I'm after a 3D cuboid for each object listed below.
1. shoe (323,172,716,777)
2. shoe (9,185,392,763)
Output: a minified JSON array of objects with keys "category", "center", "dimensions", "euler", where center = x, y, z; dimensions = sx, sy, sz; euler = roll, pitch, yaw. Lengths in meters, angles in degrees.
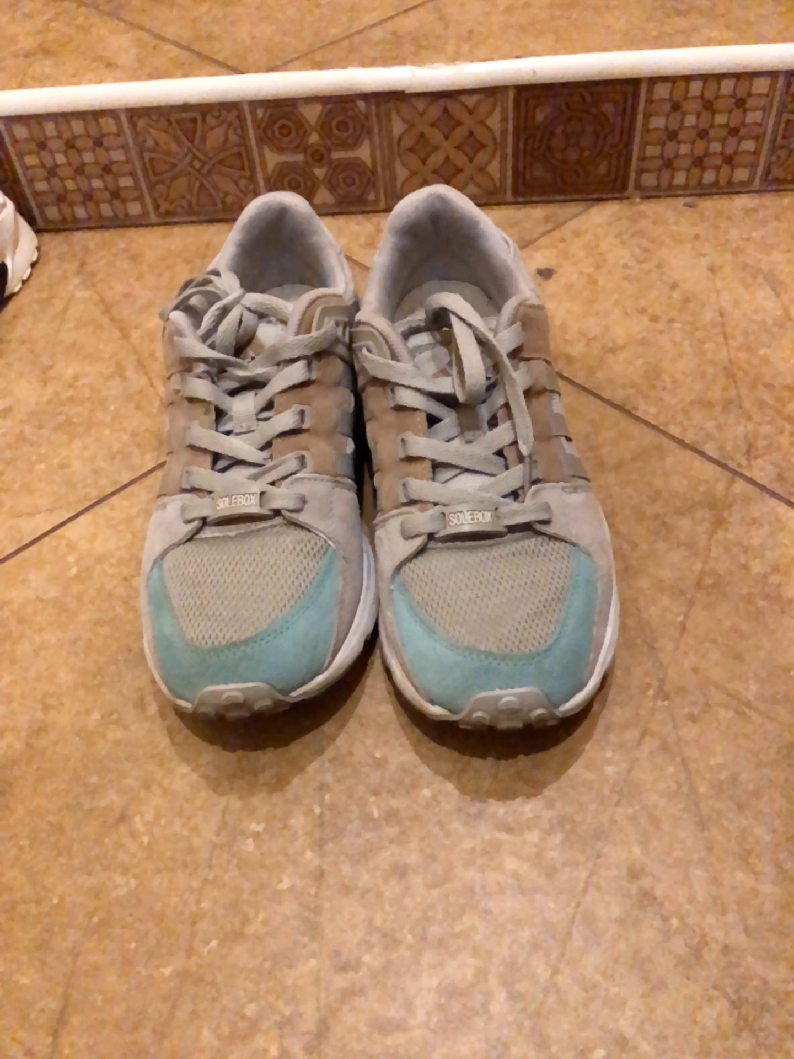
[{"category":"shoe","center":[0.031,-0.042,0.366],"dimensions":[0.108,0.080,0.262],"euler":[-6,49,1]},{"category":"shoe","center":[-0.063,-0.042,0.379],"dimensions":[0.110,0.080,0.262],"euler":[-4,49,3]}]
